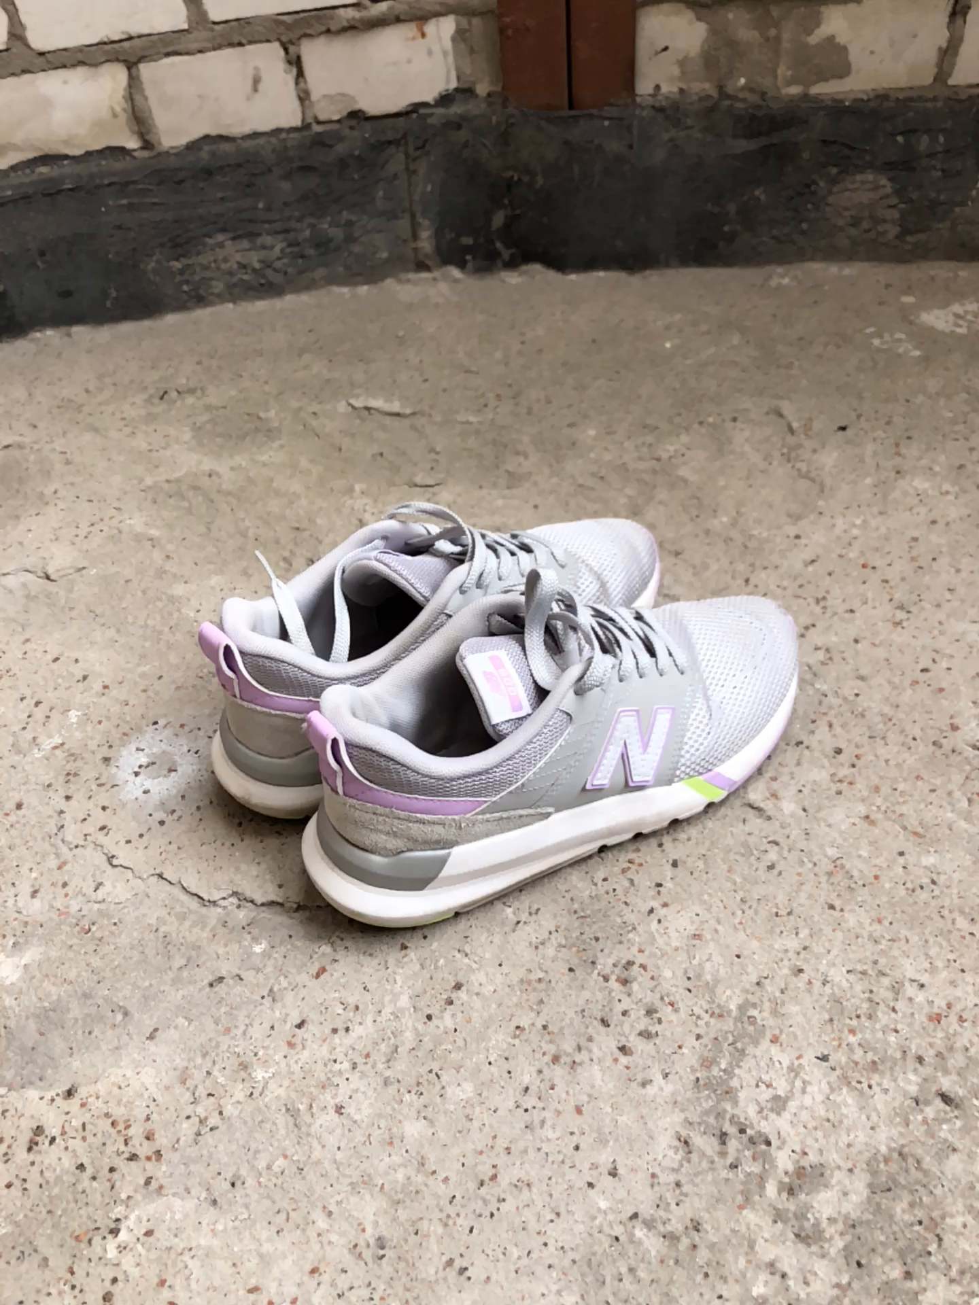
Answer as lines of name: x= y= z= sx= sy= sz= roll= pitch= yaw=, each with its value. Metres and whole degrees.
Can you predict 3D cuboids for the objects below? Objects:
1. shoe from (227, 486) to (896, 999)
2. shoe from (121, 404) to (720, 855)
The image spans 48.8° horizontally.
shoe: x=0.036 y=0.028 z=0.494 sx=0.270 sy=0.099 sz=0.111 roll=-21 pitch=44 yaw=-23
shoe: x=-0.027 y=-0.025 z=0.550 sx=0.270 sy=0.099 sz=0.111 roll=-24 pitch=45 yaw=-25
